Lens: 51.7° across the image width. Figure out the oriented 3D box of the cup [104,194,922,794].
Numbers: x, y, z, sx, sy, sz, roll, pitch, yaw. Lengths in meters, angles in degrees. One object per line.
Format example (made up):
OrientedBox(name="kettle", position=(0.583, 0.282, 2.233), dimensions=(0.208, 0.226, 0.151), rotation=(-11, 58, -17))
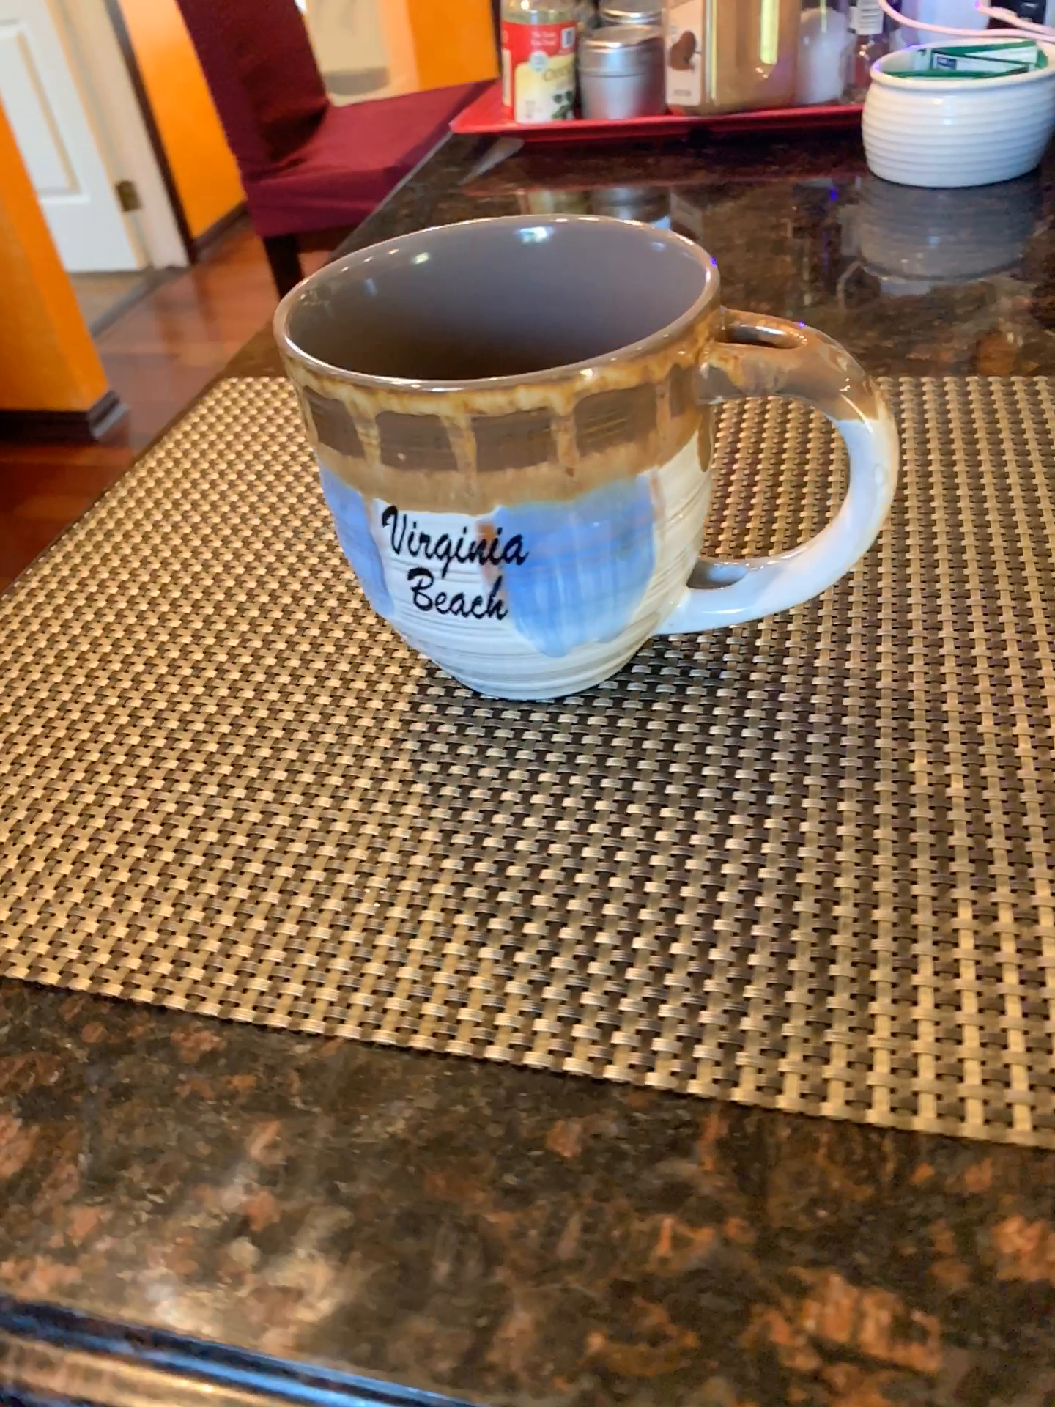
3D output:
OrientedBox(name="cup", position=(0.006, -0.058, 0.261), dimensions=(0.150, 0.089, 0.100), rotation=(9, 44, 19))
